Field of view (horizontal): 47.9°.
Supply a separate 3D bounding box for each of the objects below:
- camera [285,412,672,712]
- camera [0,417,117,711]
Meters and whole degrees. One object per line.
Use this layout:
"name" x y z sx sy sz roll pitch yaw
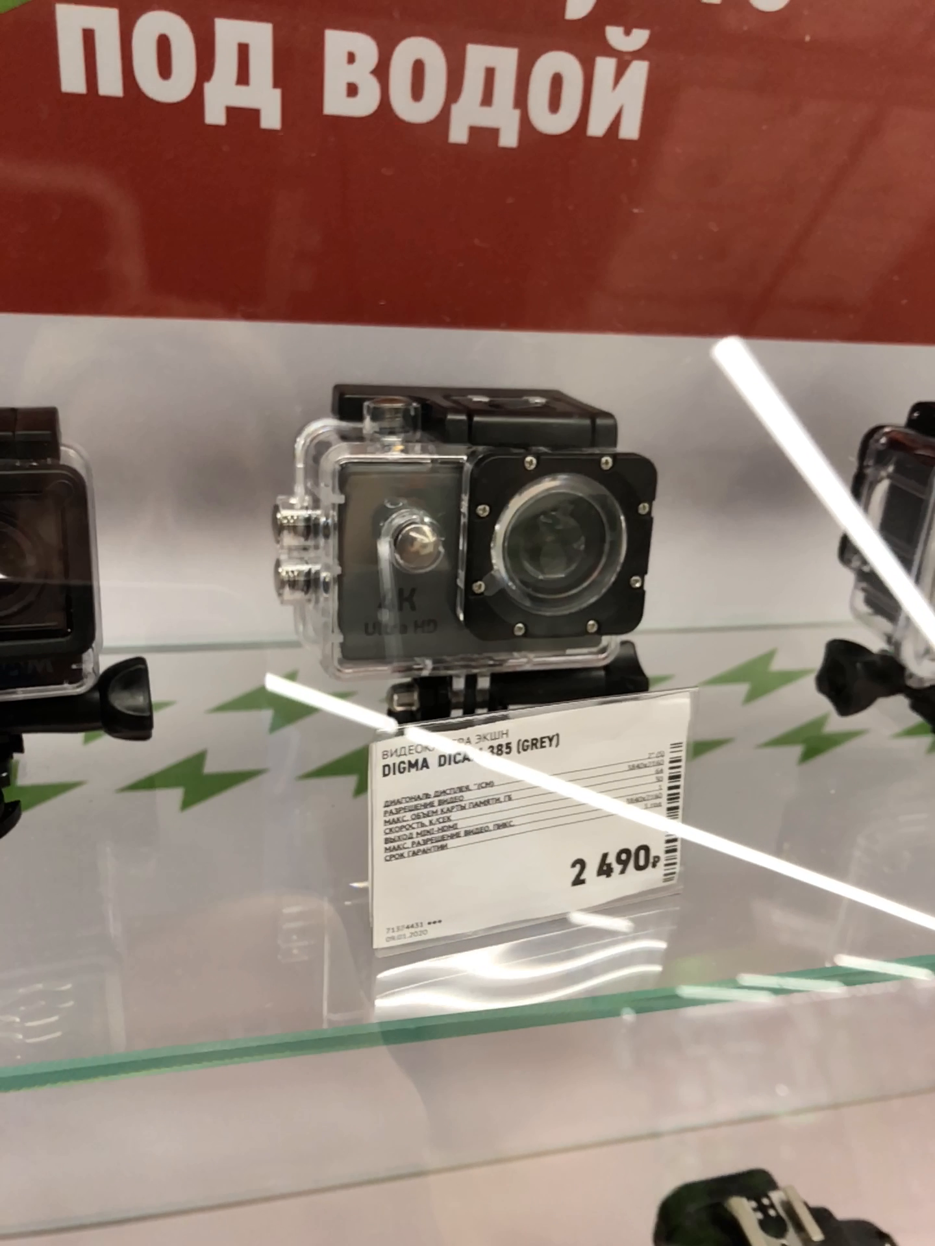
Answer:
"camera" -0.001 -0.017 0.244 0.077 0.055 0.048 -2 20 -15
"camera" -0.106 -0.014 0.200 0.072 0.046 0.036 -4 17 -18
